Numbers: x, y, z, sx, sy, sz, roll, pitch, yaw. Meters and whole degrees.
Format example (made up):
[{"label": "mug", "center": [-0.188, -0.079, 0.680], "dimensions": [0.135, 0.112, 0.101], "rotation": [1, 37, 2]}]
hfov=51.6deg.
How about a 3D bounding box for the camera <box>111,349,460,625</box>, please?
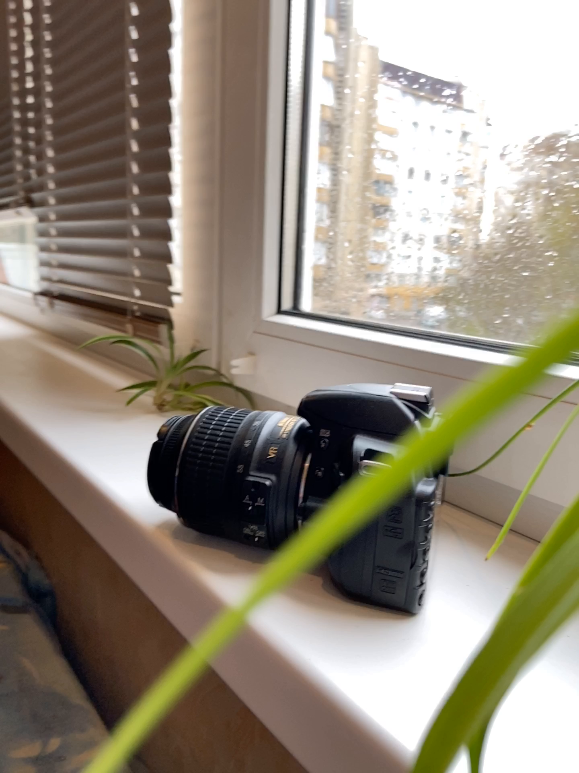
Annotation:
[{"label": "camera", "center": [0.005, 0.039, 0.334], "dimensions": [0.158, 0.092, 0.122], "rotation": [6, 13, 18]}]
